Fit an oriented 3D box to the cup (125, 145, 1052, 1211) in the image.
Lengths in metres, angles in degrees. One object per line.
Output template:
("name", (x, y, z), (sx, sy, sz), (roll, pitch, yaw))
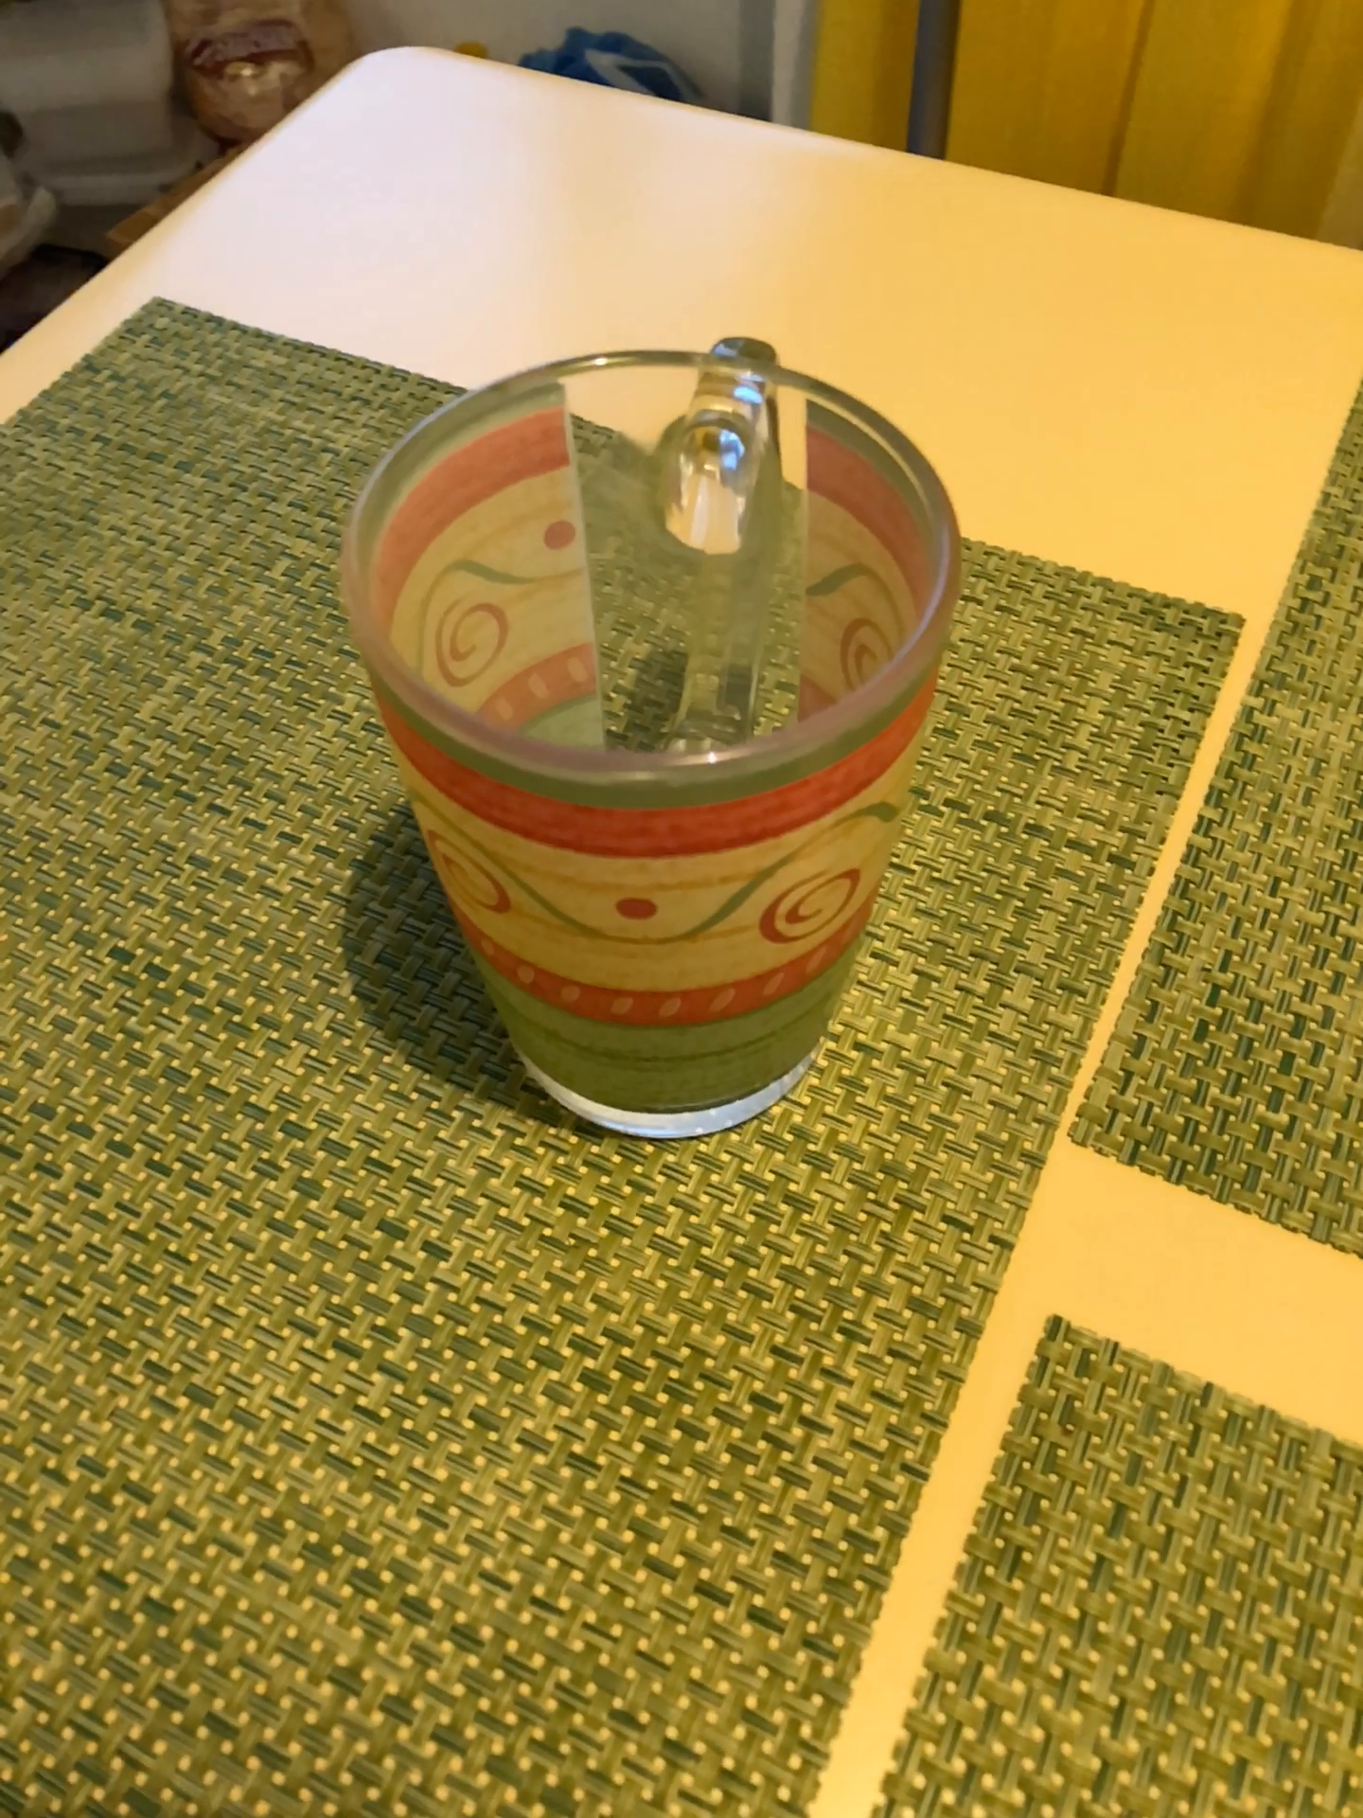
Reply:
("cup", (-0.002, -0.037, 0.228), (0.090, 0.090, 0.121), (10, 55, 9))
